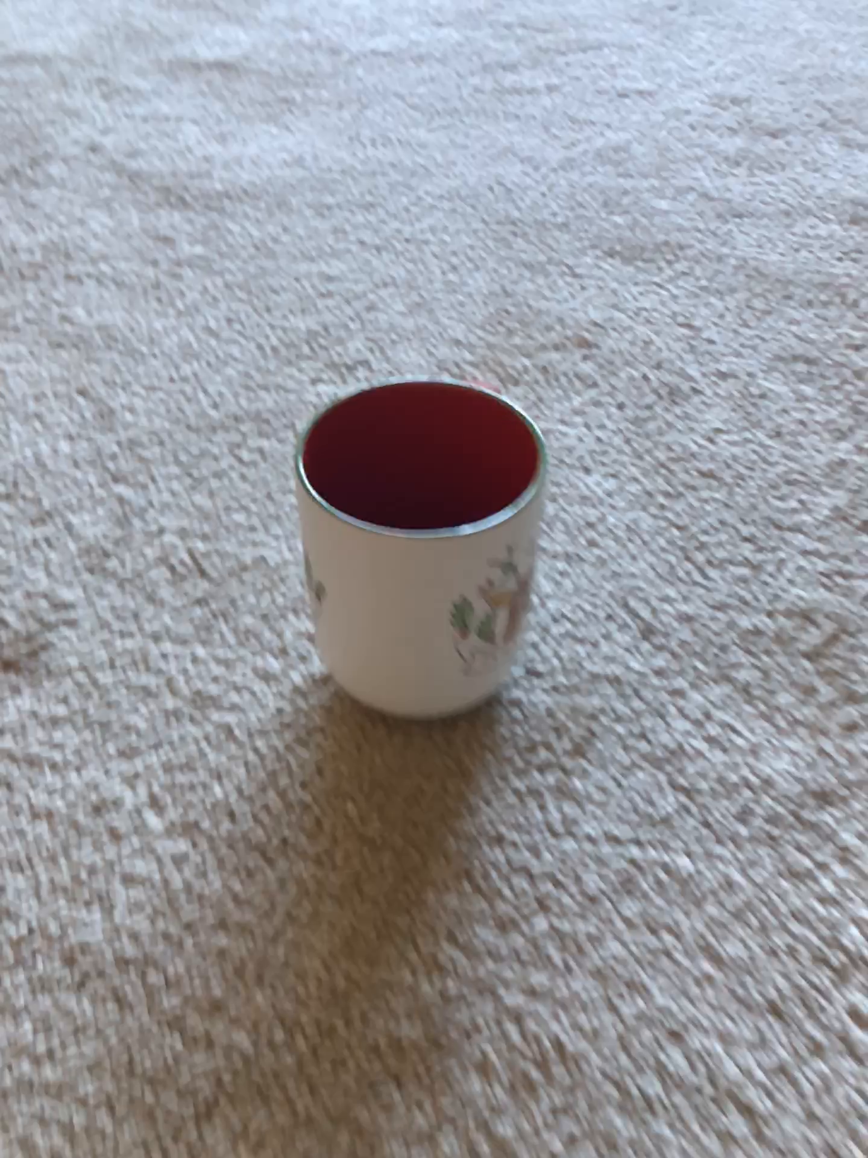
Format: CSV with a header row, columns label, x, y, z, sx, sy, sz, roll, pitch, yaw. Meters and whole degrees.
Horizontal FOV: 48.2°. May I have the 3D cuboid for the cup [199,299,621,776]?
label,x,y,z,sx,sy,sz,roll,pitch,yaw
cup,-0.001,-0.022,0.368,0.100,0.090,0.140,15,49,15
